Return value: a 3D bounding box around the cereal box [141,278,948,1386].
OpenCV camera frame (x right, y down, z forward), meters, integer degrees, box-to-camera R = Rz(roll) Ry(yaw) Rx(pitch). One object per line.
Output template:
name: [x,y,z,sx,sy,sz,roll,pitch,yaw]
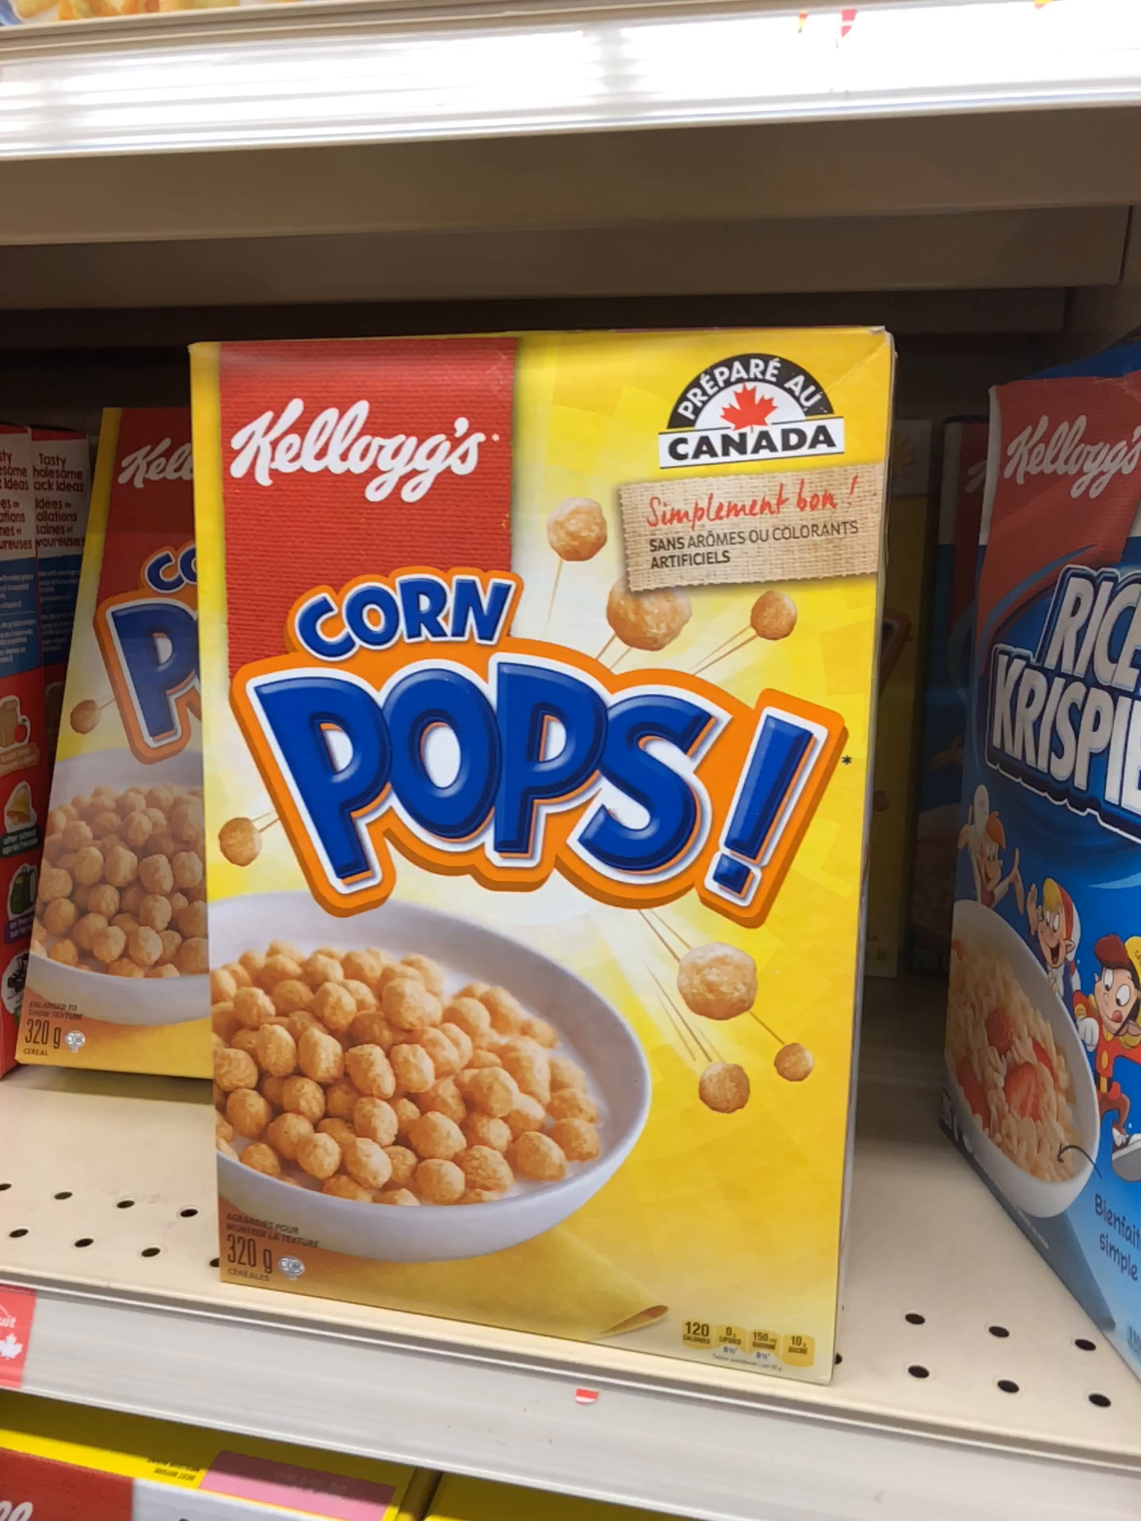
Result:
cereal box: [-0.008,0.018,0.373,0.210,0.289,0.060,3,12,14]
